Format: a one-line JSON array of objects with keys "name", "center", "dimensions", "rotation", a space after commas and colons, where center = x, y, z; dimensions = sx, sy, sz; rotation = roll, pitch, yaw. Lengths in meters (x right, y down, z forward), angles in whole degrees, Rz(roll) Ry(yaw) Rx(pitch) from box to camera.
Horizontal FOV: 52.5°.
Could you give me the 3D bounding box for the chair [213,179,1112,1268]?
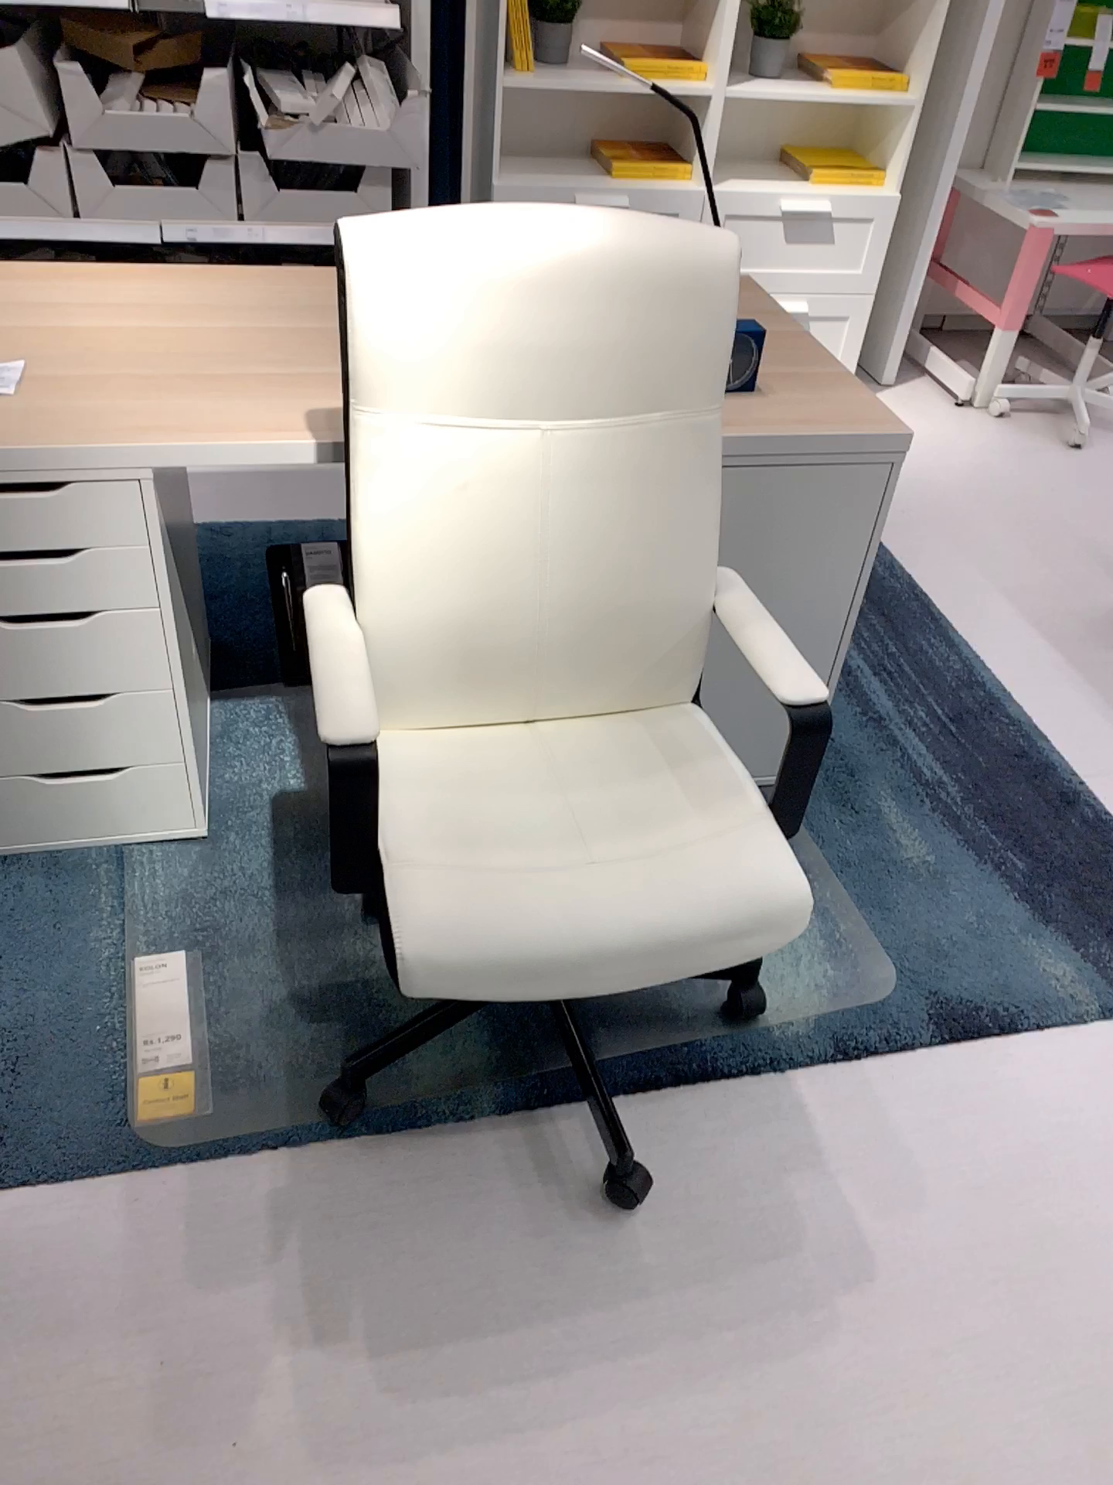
[{"name": "chair", "center": [0.014, -0.029, 1.305], "dimensions": [0.690, 0.956, 0.703], "rotation": [-5, 41, -13]}]
